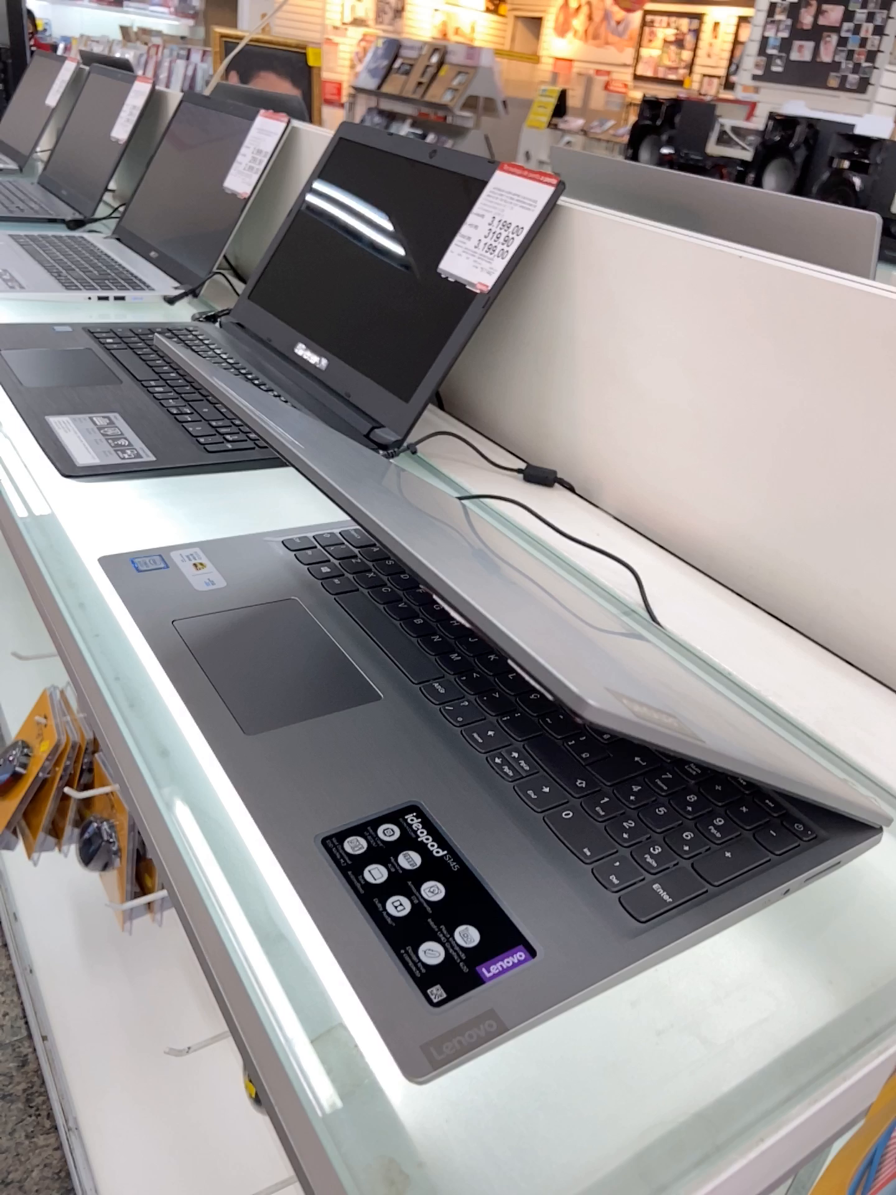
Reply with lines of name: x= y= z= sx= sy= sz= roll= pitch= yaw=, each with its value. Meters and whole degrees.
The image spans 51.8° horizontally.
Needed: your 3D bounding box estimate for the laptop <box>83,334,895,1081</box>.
laptop: x=0.001 y=-0.014 z=0.432 sx=0.239 sy=0.122 sz=0.355 roll=-12 pitch=34 yaw=-31
